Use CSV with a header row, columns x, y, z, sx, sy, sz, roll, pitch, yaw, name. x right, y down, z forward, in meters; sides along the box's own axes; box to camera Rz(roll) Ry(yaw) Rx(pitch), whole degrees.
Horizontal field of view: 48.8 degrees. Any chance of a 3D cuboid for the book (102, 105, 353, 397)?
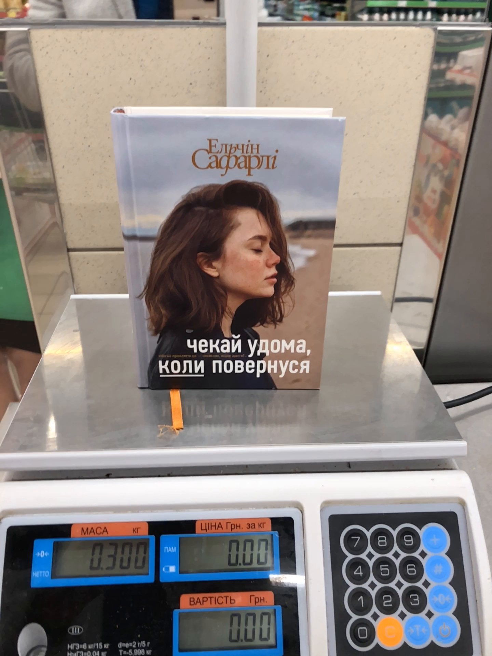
x,y,z,sx,sy,sz,roll,pitch,yaw,name
-0.010,-0.044,0.356,0.137,0.186,0.037,-1,28,-3,book
